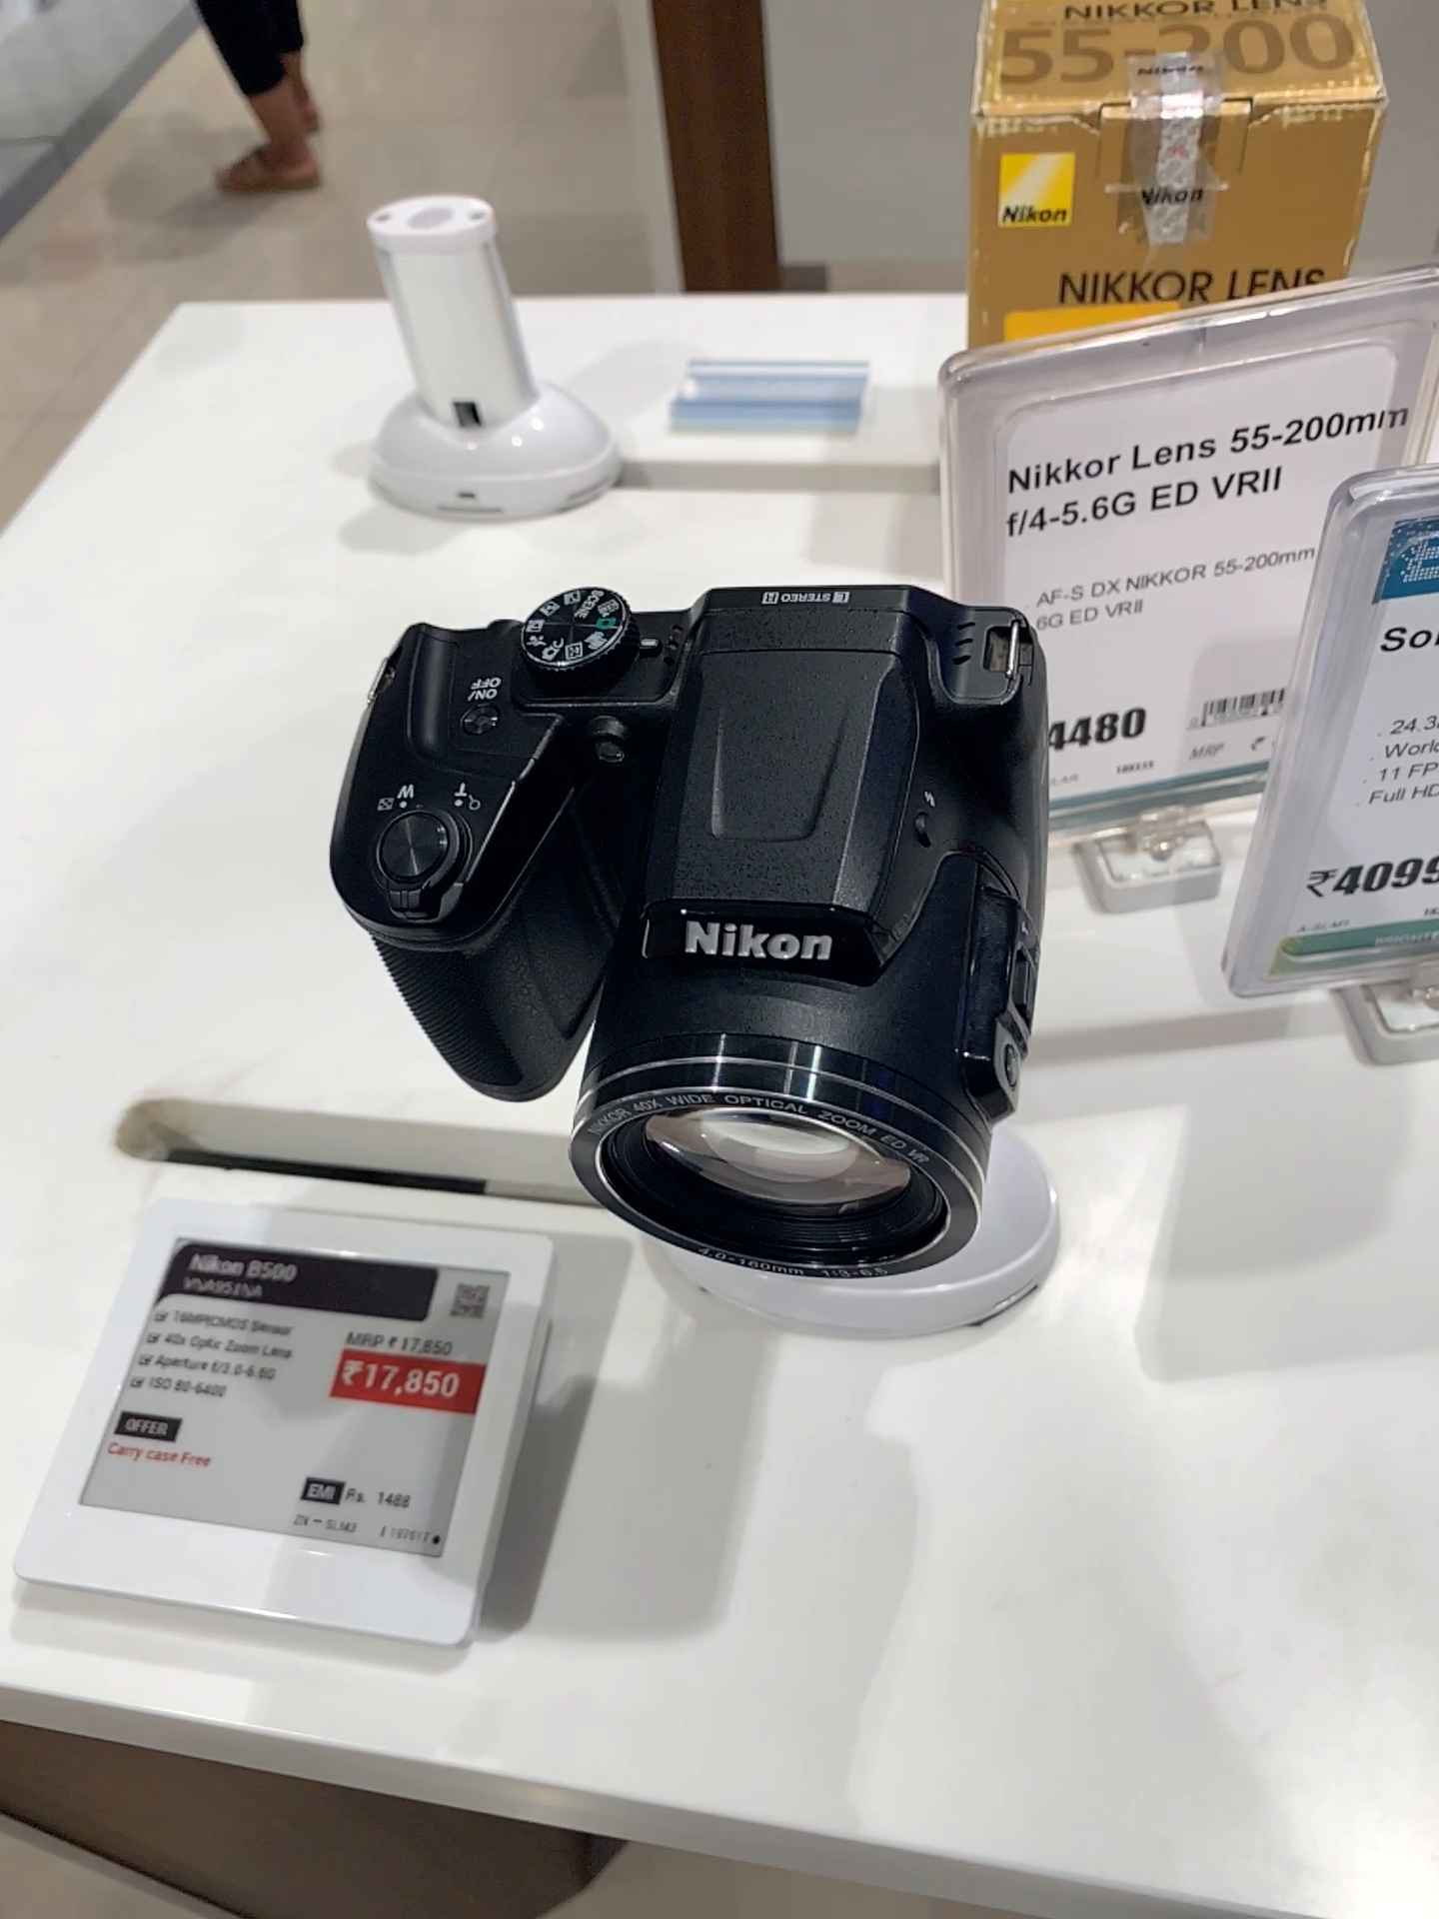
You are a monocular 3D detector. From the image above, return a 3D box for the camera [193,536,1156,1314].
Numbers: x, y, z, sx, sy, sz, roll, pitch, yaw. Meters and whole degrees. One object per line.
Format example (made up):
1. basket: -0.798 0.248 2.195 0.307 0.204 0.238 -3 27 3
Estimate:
1. camera: 0.002 -0.006 0.222 0.113 0.070 0.084 4 57 11
